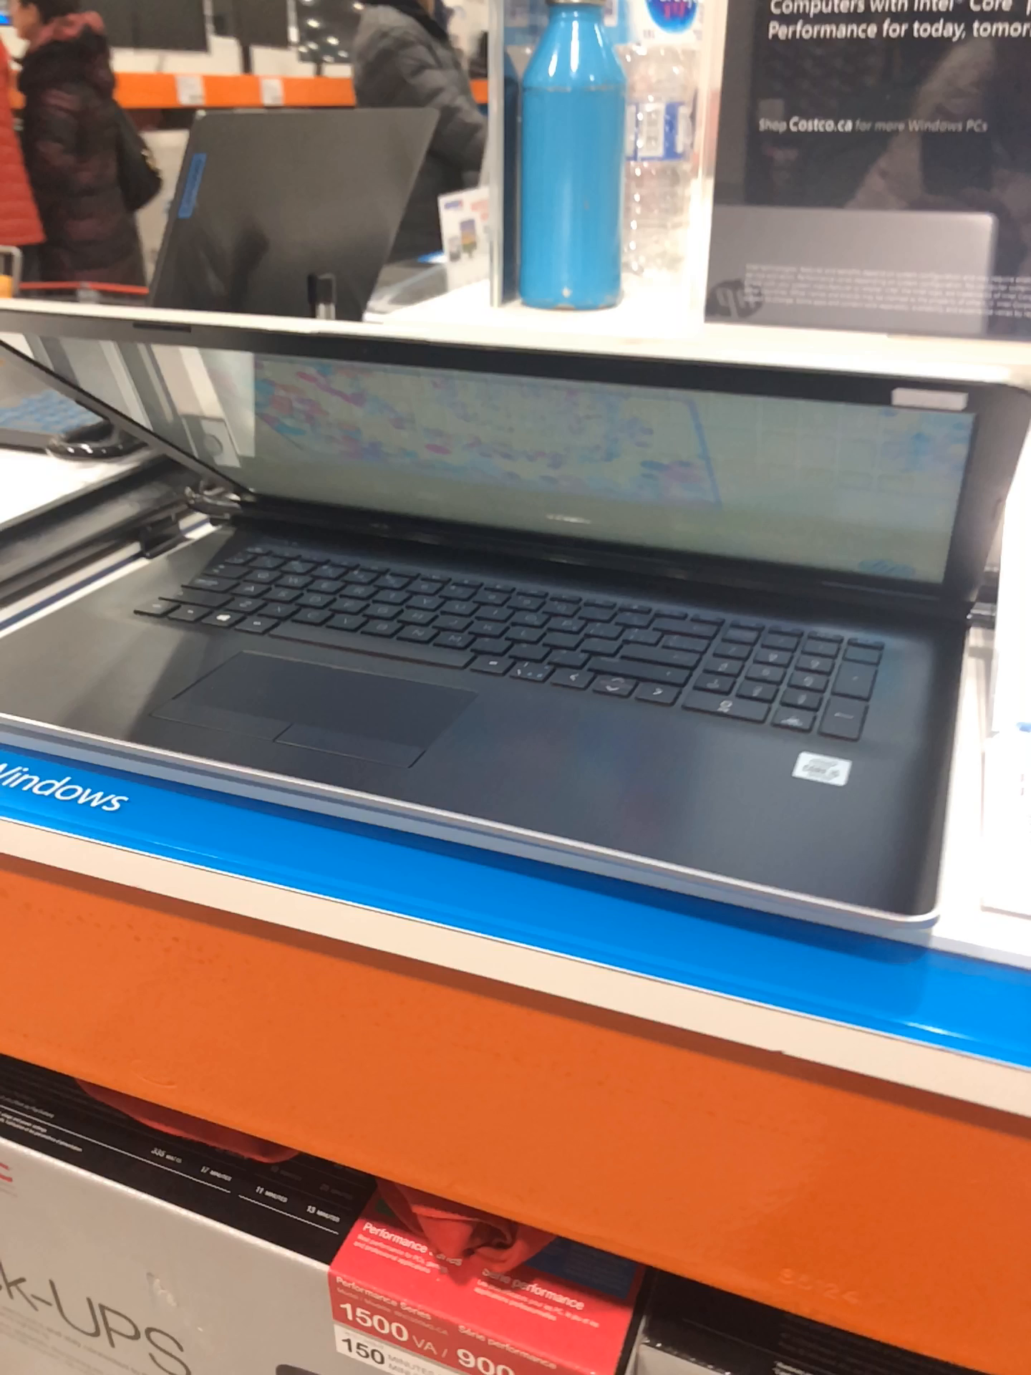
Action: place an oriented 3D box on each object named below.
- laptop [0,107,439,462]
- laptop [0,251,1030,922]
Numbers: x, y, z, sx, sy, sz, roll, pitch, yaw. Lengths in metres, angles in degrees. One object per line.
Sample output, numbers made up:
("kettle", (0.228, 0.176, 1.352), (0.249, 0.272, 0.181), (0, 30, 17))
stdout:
("laptop", (-0.286, -0.349, 0.926), (0.330, 0.212, 0.341), (10, 28, 18))
("laptop", (-0.020, -0.085, 0.476), (0.406, 0.150, 0.258), (10, 28, 20))
